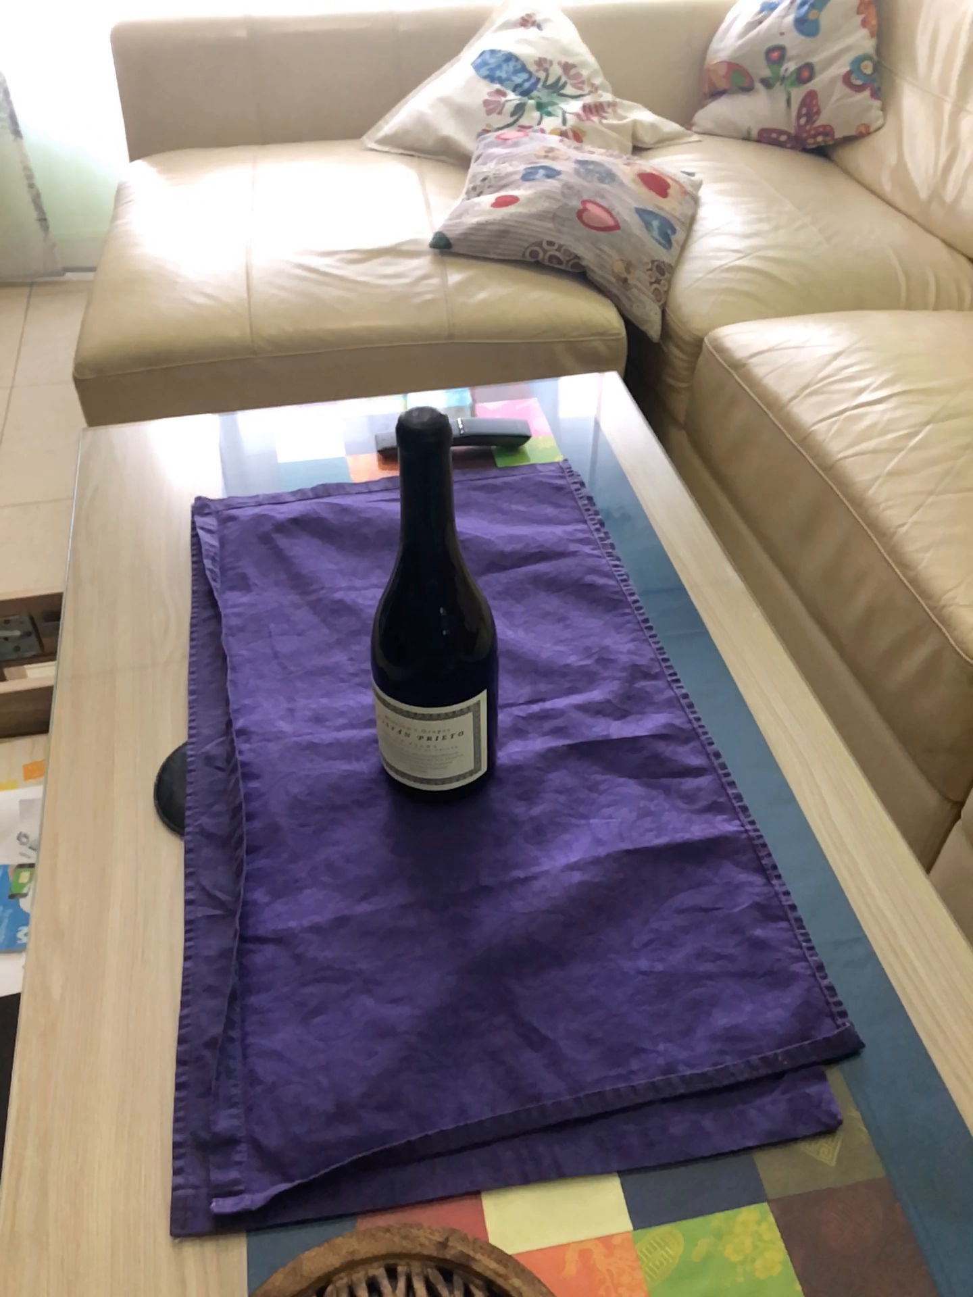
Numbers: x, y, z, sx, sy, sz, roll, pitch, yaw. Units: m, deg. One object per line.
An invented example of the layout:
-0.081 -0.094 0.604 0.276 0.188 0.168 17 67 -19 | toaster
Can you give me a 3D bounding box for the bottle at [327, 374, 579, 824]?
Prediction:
-0.017 -0.023 0.678 0.110 0.259 0.100 0 42 0 | bottle
